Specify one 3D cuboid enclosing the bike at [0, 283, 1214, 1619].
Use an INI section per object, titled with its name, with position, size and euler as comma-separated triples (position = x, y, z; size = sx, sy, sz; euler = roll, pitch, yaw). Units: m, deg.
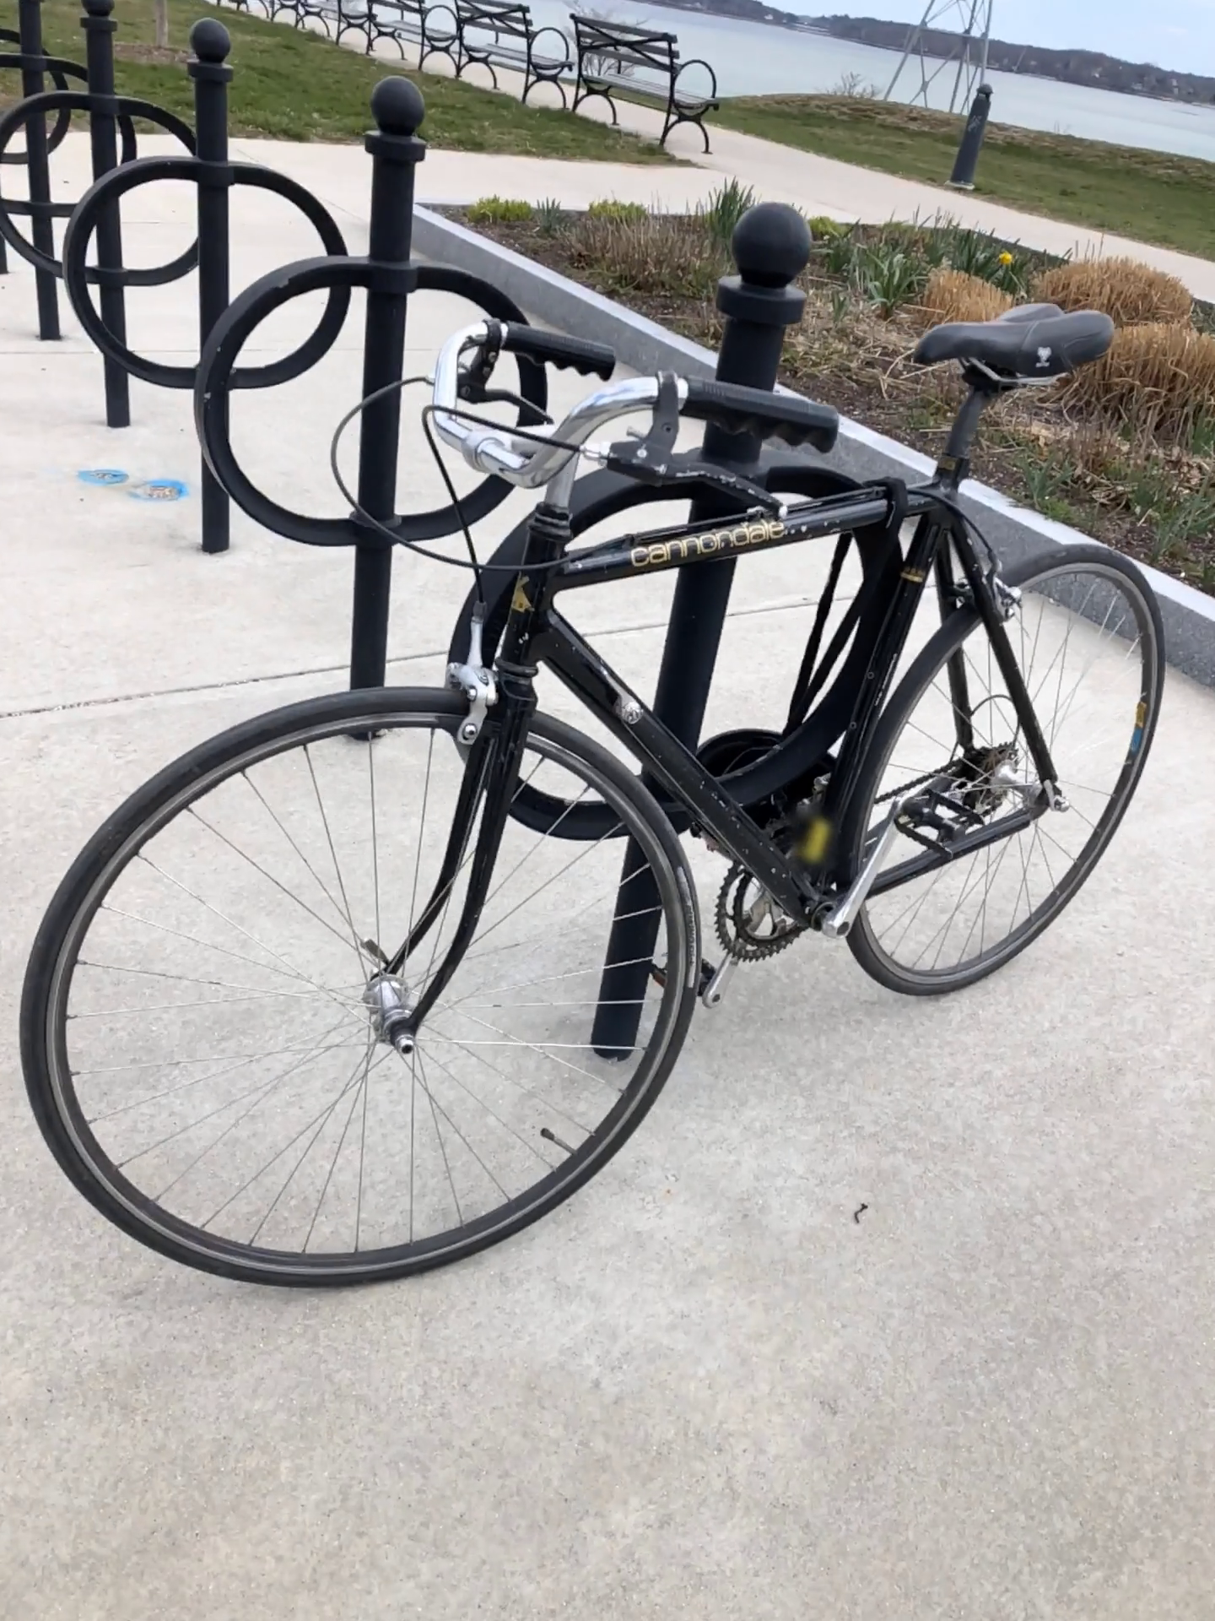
[bike]
position = 0.150, -0.018, 1.330
size = 1.387, 0.805, 0.487
euler = -16, 39, -31
